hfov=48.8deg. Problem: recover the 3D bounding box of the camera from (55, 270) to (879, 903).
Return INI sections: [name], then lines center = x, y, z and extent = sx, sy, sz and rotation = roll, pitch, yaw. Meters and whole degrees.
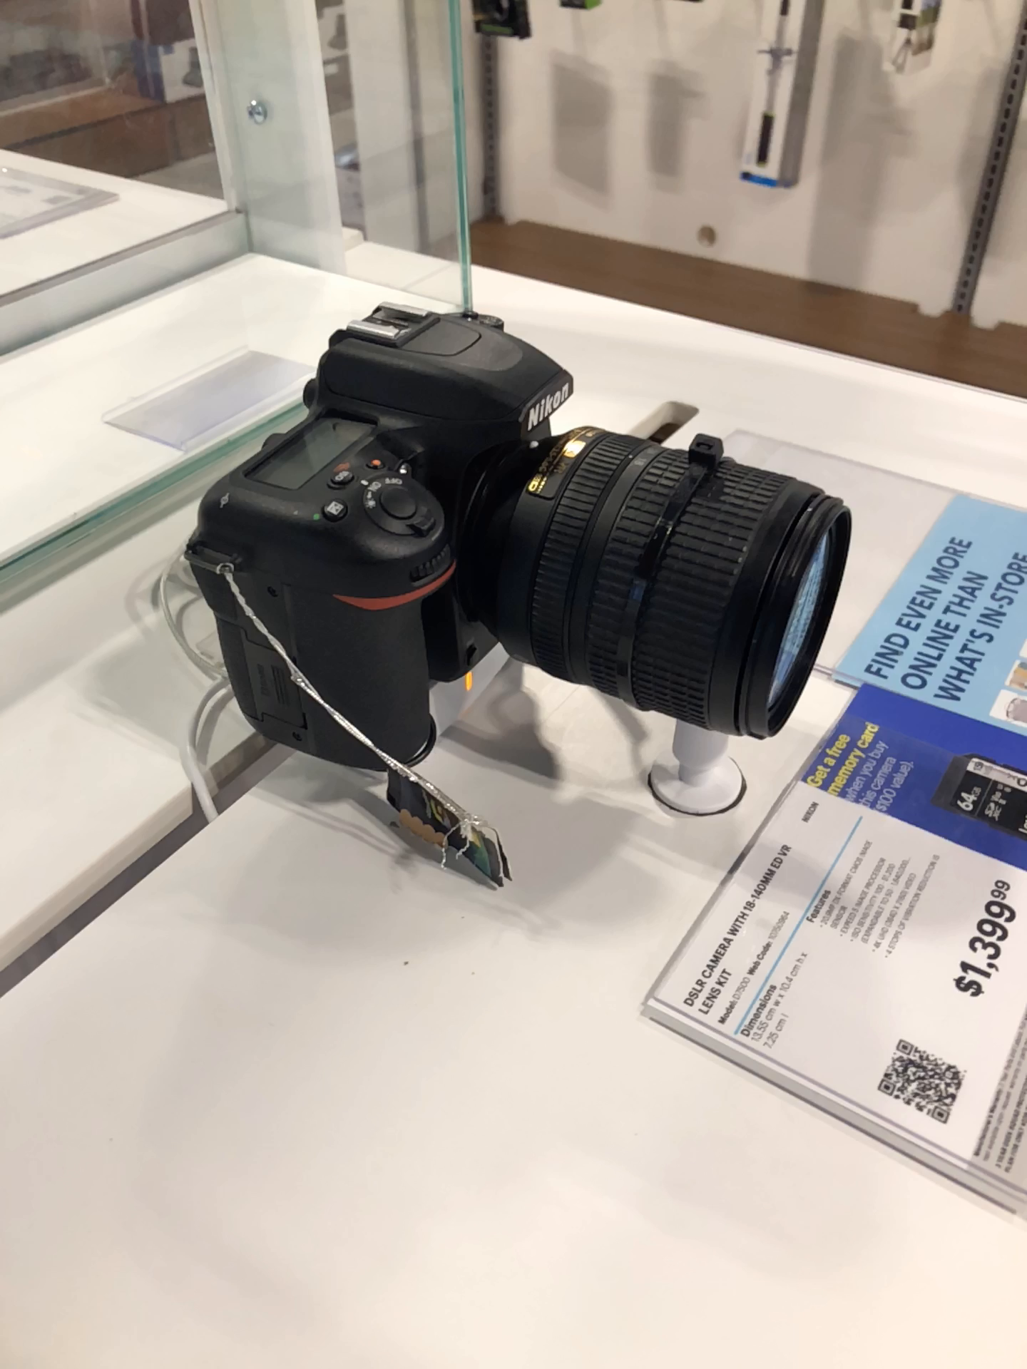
[camera]
center = -0.009, -0.046, 0.352
extent = 0.190, 0.089, 0.141
rotation = 19, 44, 23
